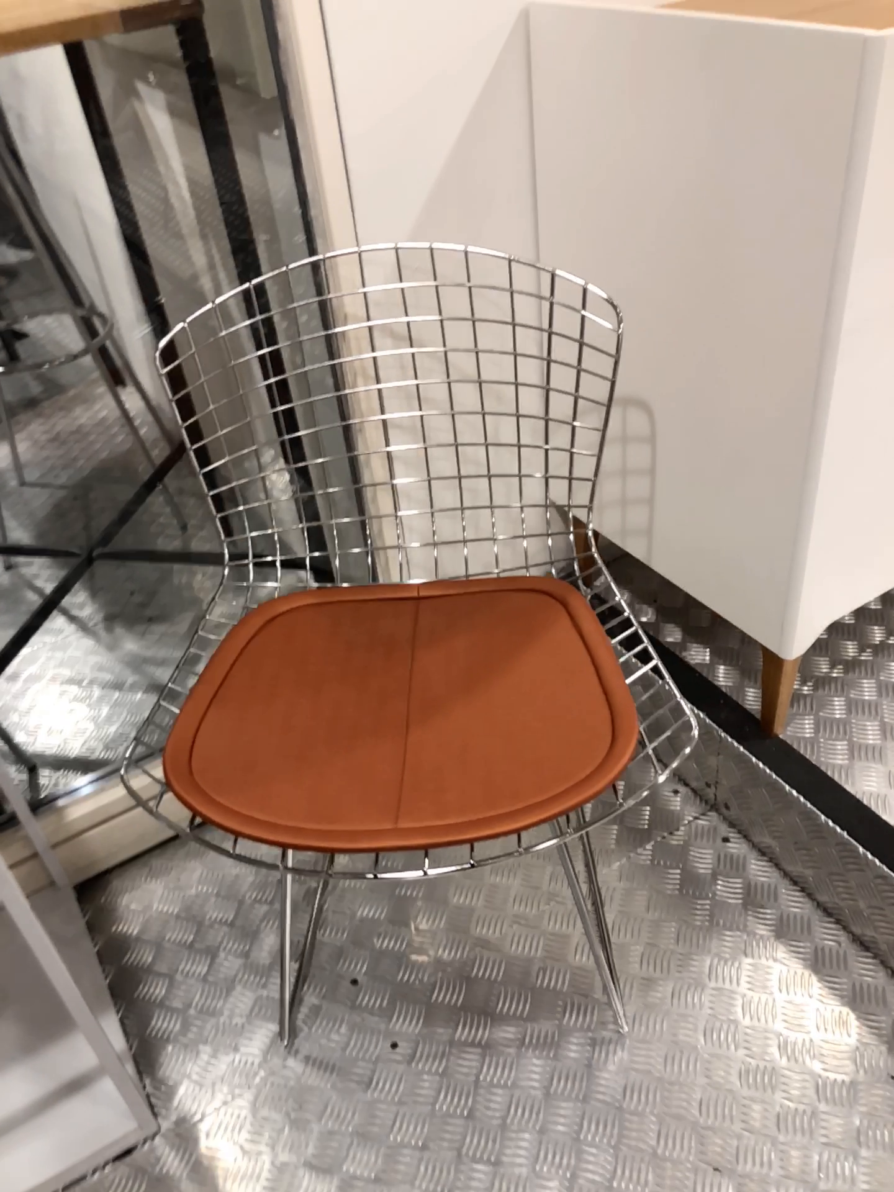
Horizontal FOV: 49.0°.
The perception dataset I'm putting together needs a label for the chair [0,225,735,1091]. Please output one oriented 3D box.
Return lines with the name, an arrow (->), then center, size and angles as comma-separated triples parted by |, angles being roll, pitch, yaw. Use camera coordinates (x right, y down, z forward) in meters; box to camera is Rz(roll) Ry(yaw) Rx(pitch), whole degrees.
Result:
chair -> -0.052, 0.070, 1.078 | 0.550, 0.705, 0.574 | -5, 37, 4
